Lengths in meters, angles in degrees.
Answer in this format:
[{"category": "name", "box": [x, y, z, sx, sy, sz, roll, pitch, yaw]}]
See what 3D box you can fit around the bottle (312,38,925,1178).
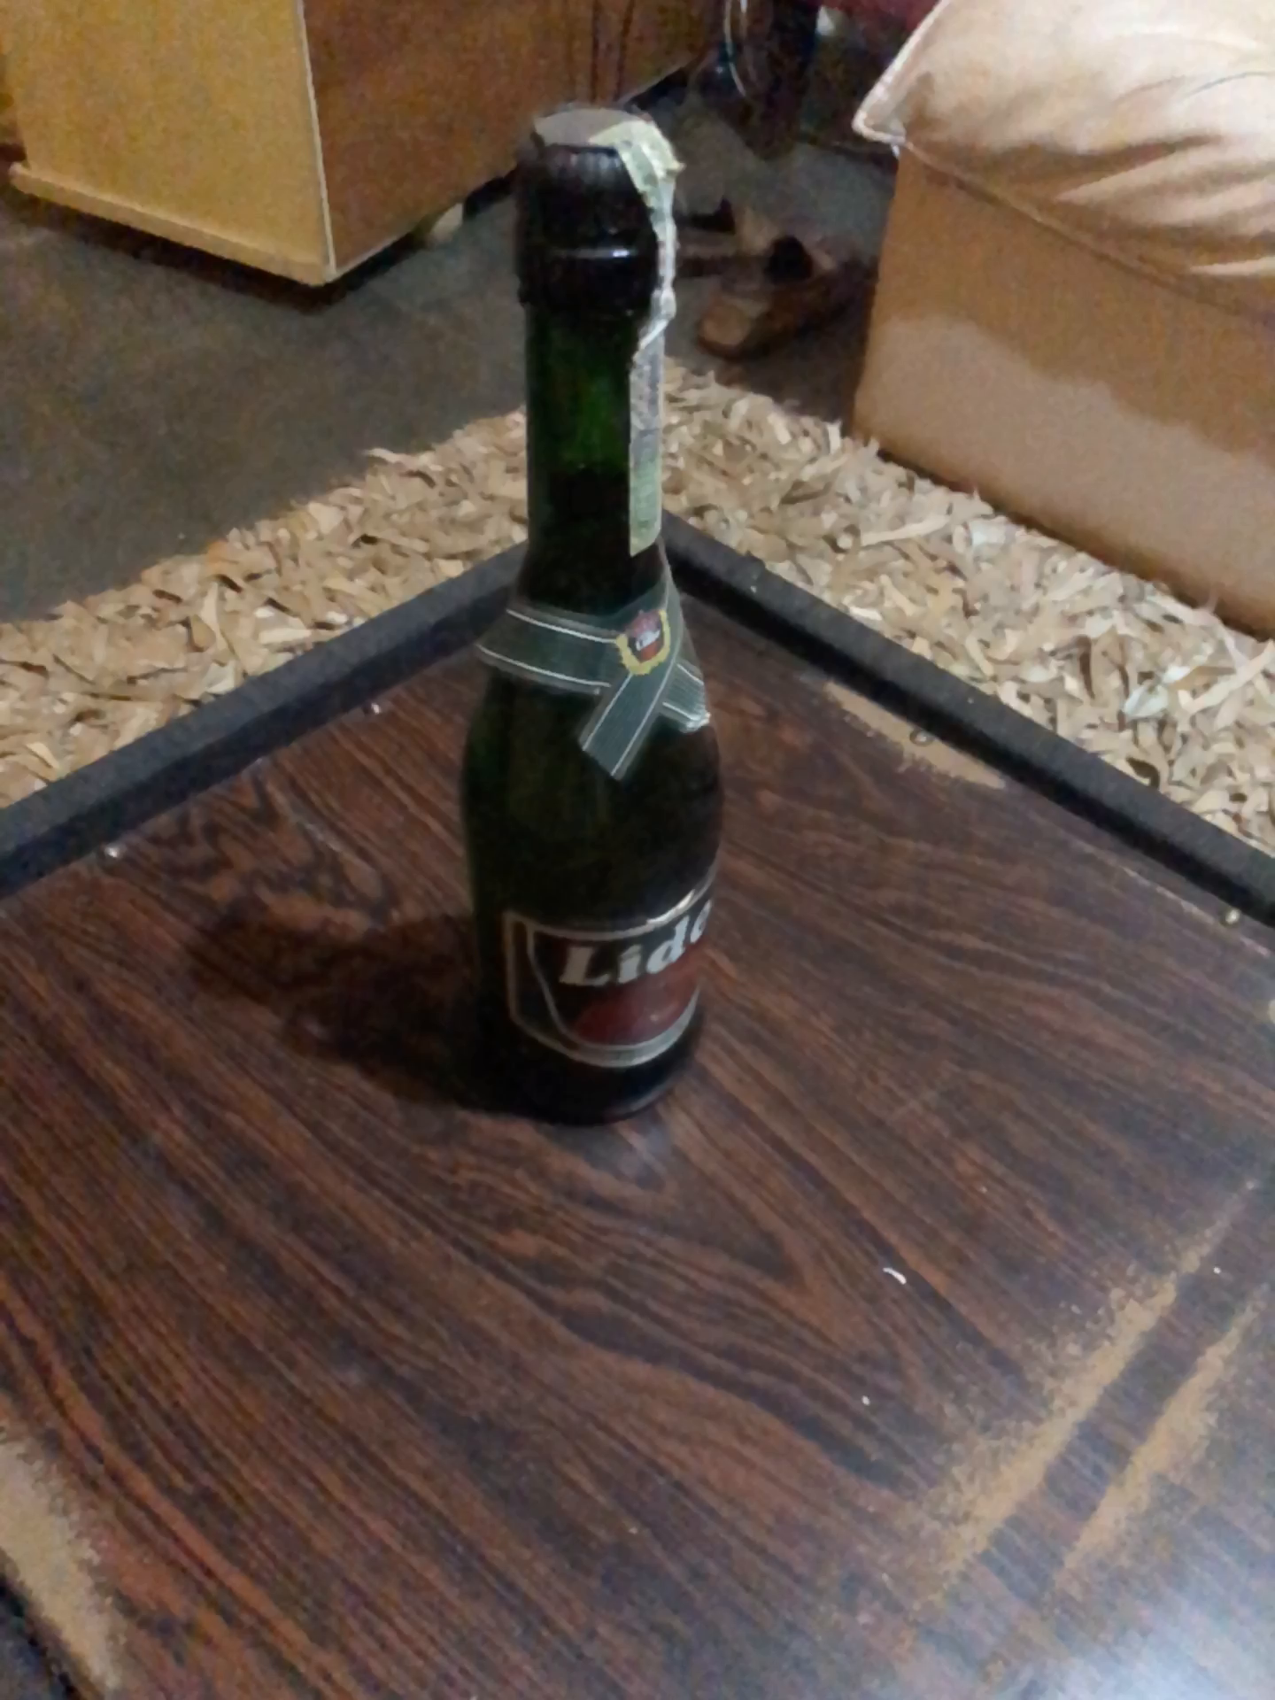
[{"category": "bottle", "box": [-0.008, -0.041, 0.379, 0.090, 0.288, 0.080, -32, 55, -29]}]
